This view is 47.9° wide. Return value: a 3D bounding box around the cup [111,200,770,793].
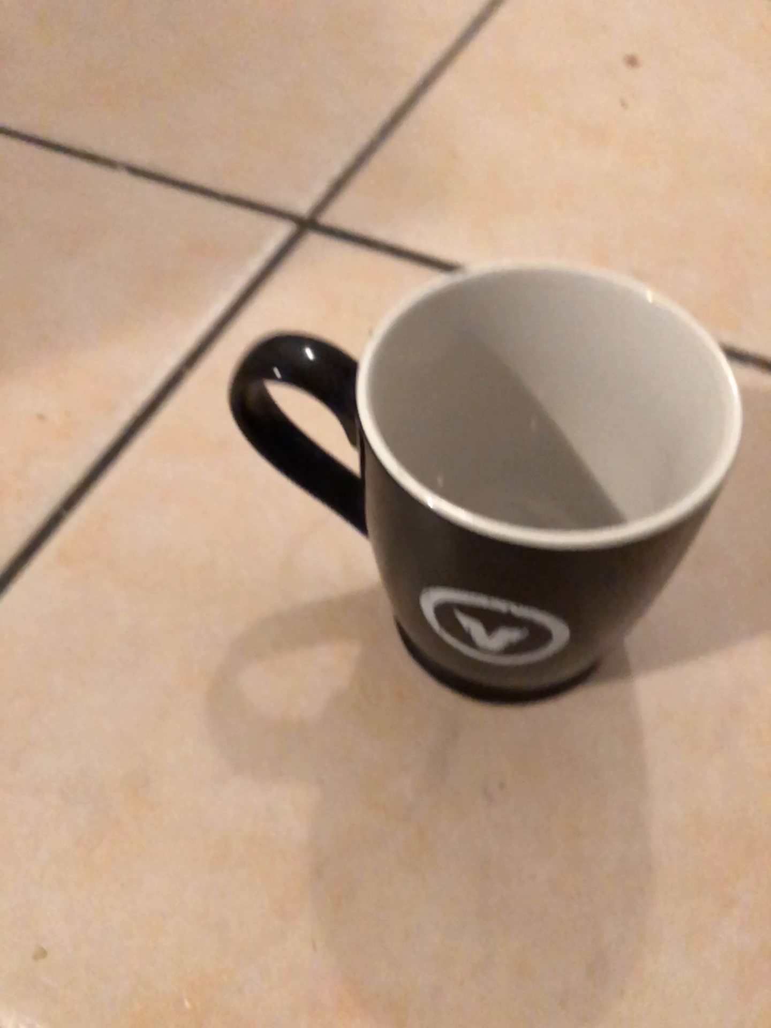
[{"bbox_3d":[0.020,-0.006,0.256,0.140,0.101,0.101,17,56,13],"label":"cup"}]
